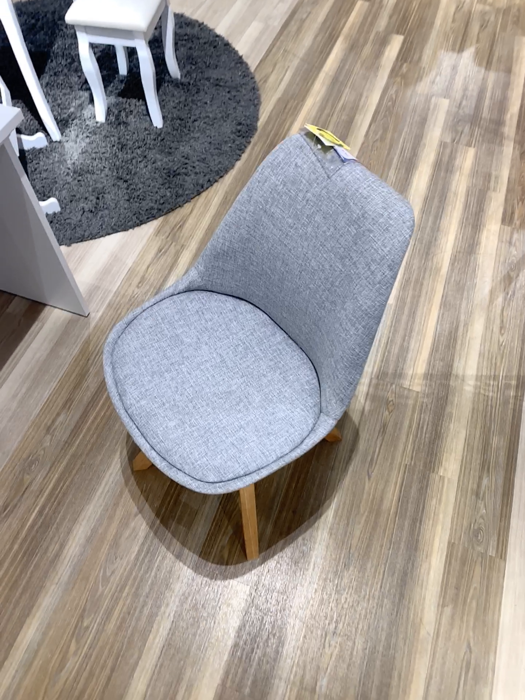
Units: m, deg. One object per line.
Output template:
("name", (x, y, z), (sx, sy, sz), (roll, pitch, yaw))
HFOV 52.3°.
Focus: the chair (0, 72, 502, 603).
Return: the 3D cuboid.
("chair", (-0.054, 0.060, 1.079), (0.516, 0.857, 0.514), (-34, 64, -20))
